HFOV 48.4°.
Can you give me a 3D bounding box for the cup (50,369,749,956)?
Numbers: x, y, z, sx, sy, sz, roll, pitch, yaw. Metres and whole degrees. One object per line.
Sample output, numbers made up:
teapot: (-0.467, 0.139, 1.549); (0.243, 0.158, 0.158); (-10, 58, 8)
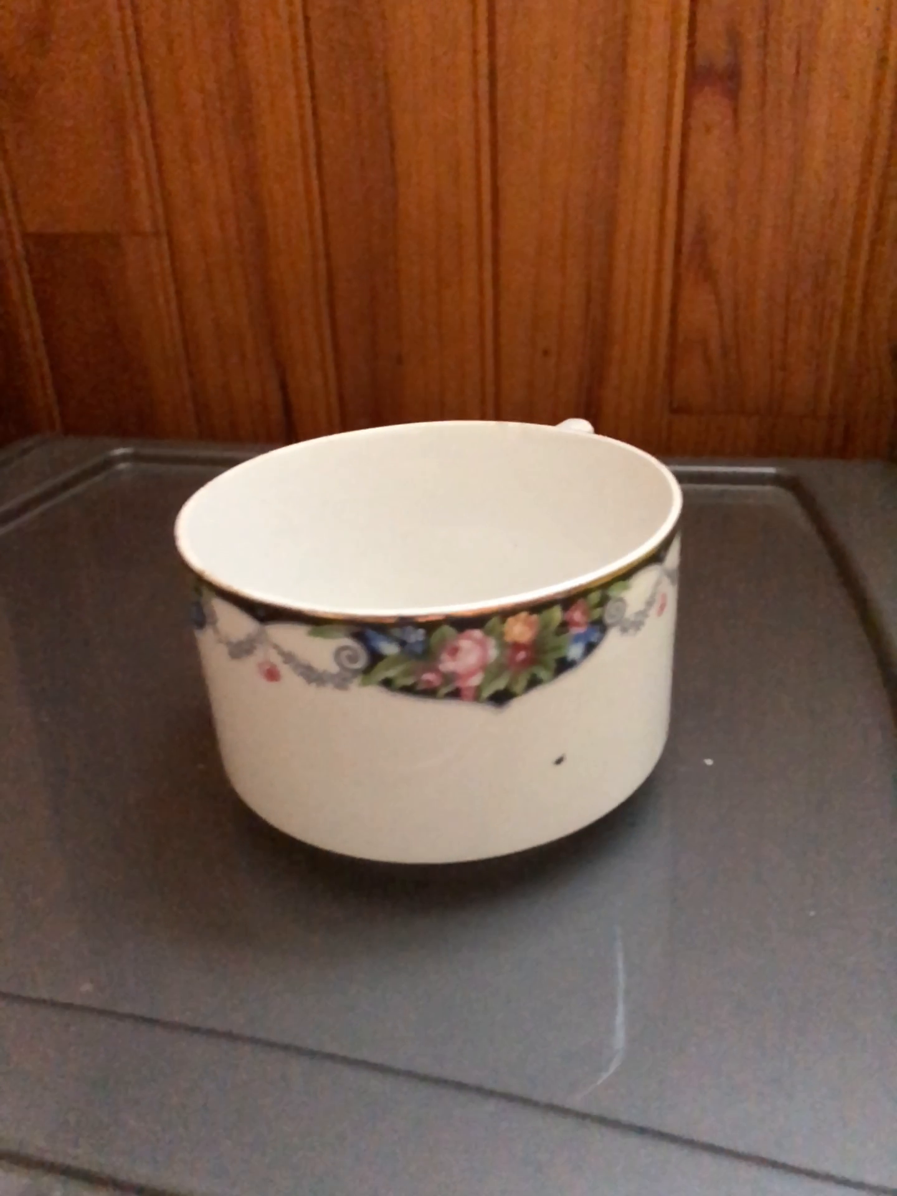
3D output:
cup: (0.002, -0.002, 0.228); (0.100, 0.060, 0.131); (10, 30, 24)
